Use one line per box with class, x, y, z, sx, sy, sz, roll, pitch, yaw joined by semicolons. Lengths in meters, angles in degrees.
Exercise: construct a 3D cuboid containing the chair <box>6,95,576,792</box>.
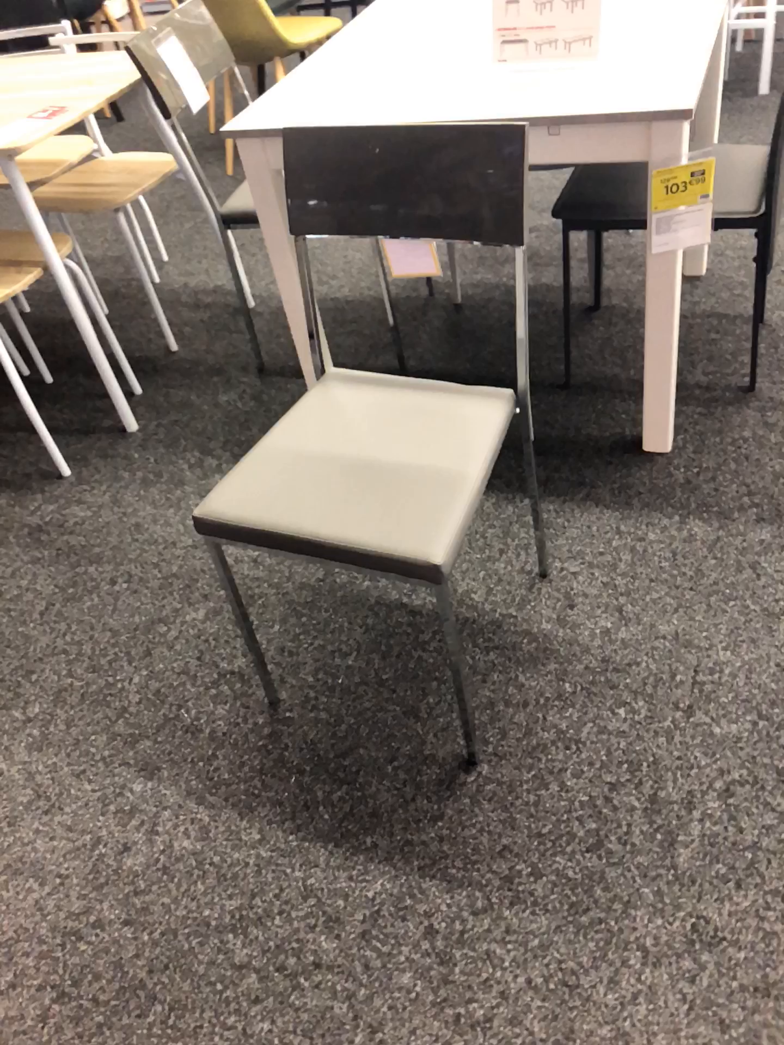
chair;-0.038;-0.109;1.340;0.490;0.855;0.553;10;47;24
